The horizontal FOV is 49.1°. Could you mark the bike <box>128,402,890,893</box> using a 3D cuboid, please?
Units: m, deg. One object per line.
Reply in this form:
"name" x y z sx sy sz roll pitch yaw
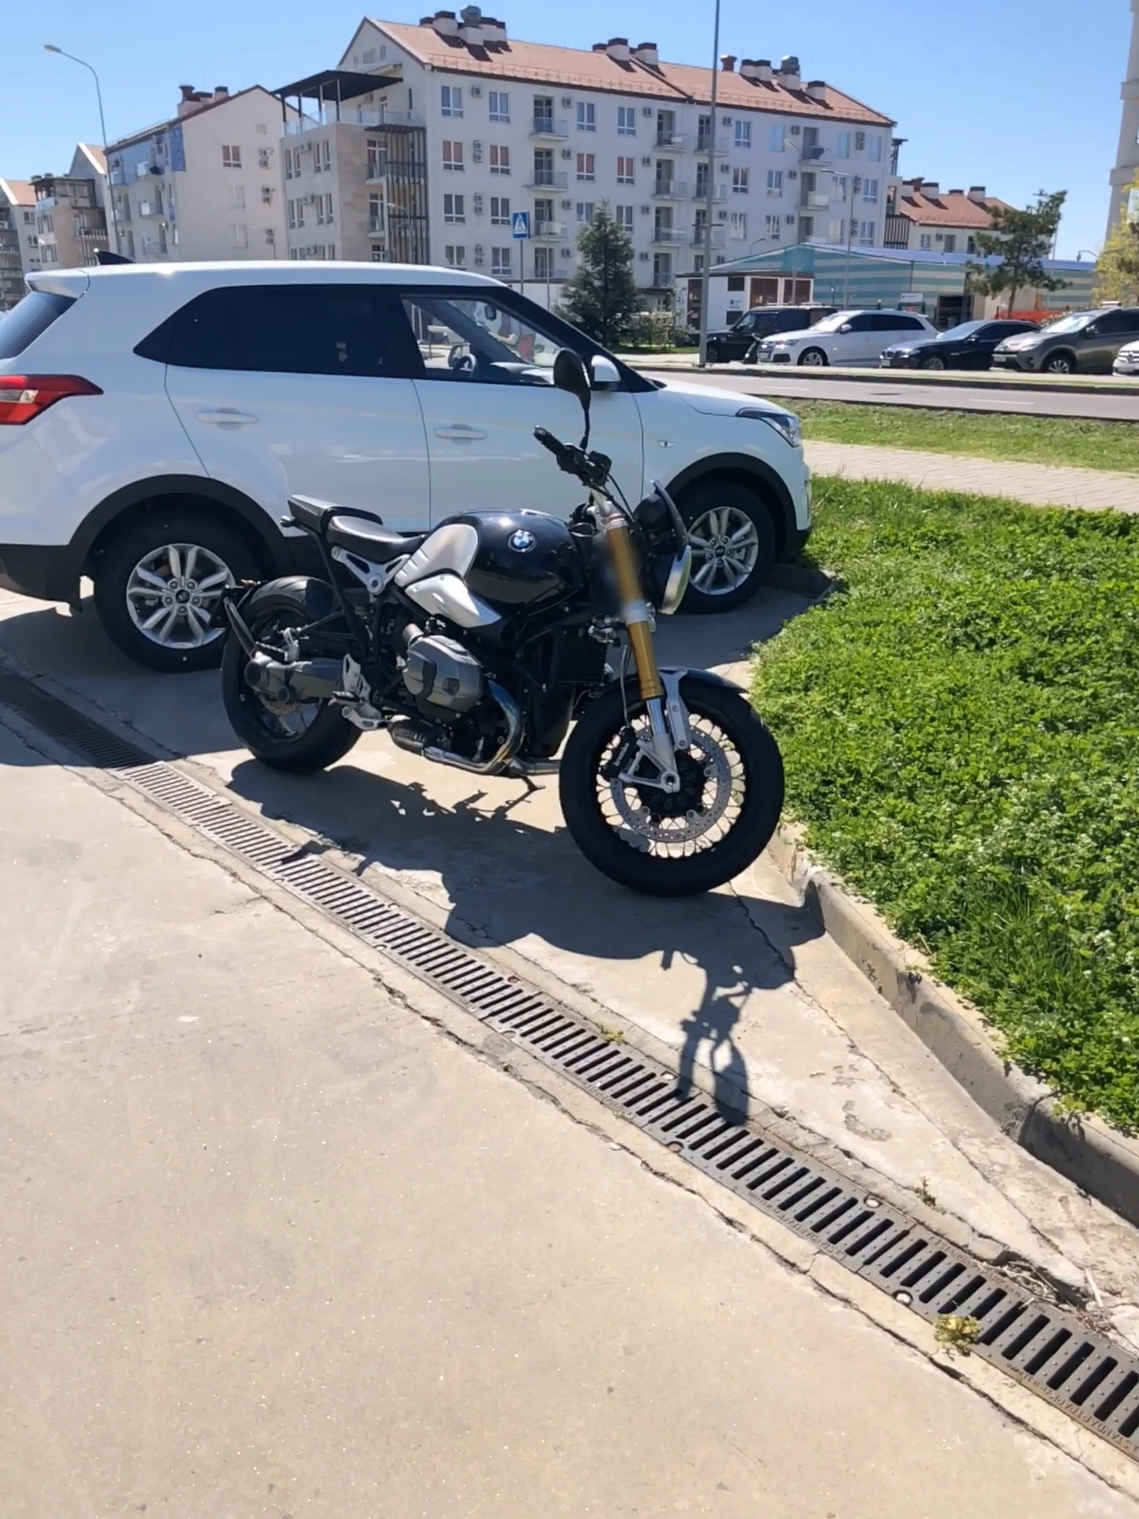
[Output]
"bike" -0.217 -0.426 3.407 1.834 1.013 0.779 11 21 31
